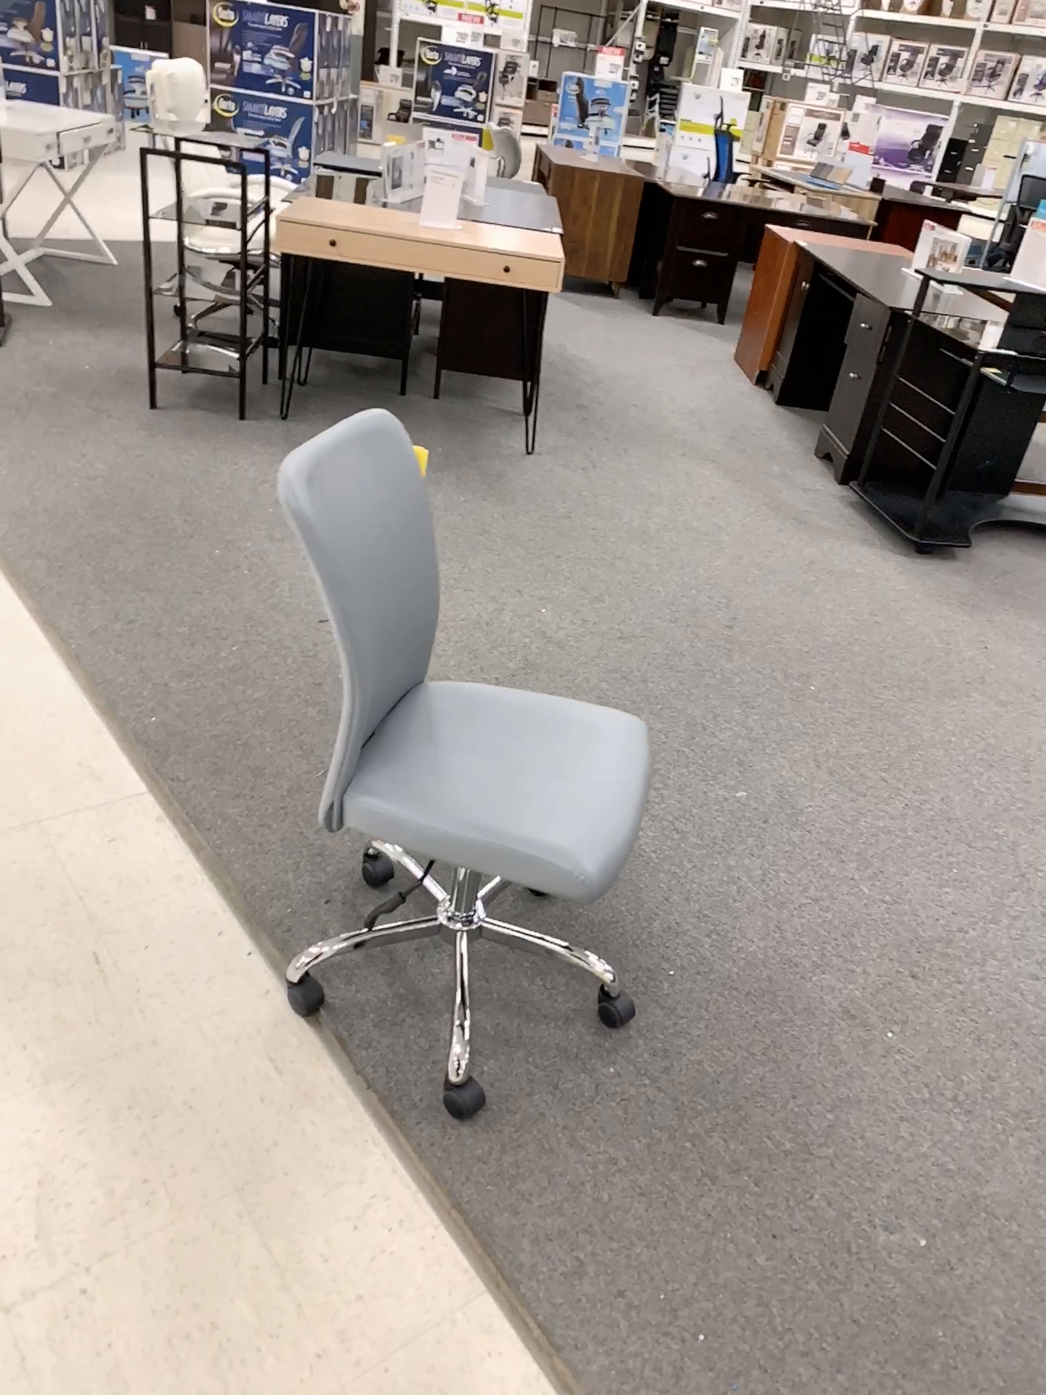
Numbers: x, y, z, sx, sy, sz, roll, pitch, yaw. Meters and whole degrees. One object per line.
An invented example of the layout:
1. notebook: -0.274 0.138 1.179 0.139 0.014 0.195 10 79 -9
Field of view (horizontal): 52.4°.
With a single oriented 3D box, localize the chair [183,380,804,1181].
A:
1. chair: -0.045 0.091 1.612 0.650 0.875 0.603 16 32 12
